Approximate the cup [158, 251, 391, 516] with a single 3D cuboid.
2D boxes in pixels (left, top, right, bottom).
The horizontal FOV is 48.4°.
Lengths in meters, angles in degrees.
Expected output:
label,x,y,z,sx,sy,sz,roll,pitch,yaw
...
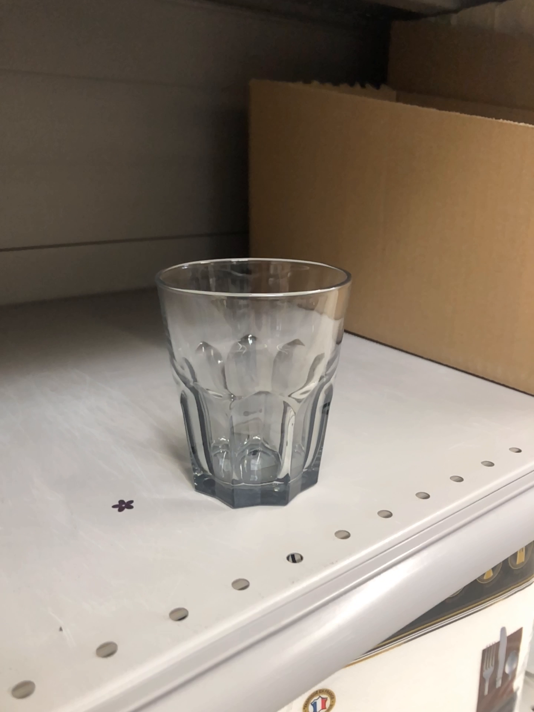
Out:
label,x,y,z,sx,sy,sz,roll,pitch,yaw
cup,-0.003,0.005,0.267,0.086,0.092,0.083,1,18,0
